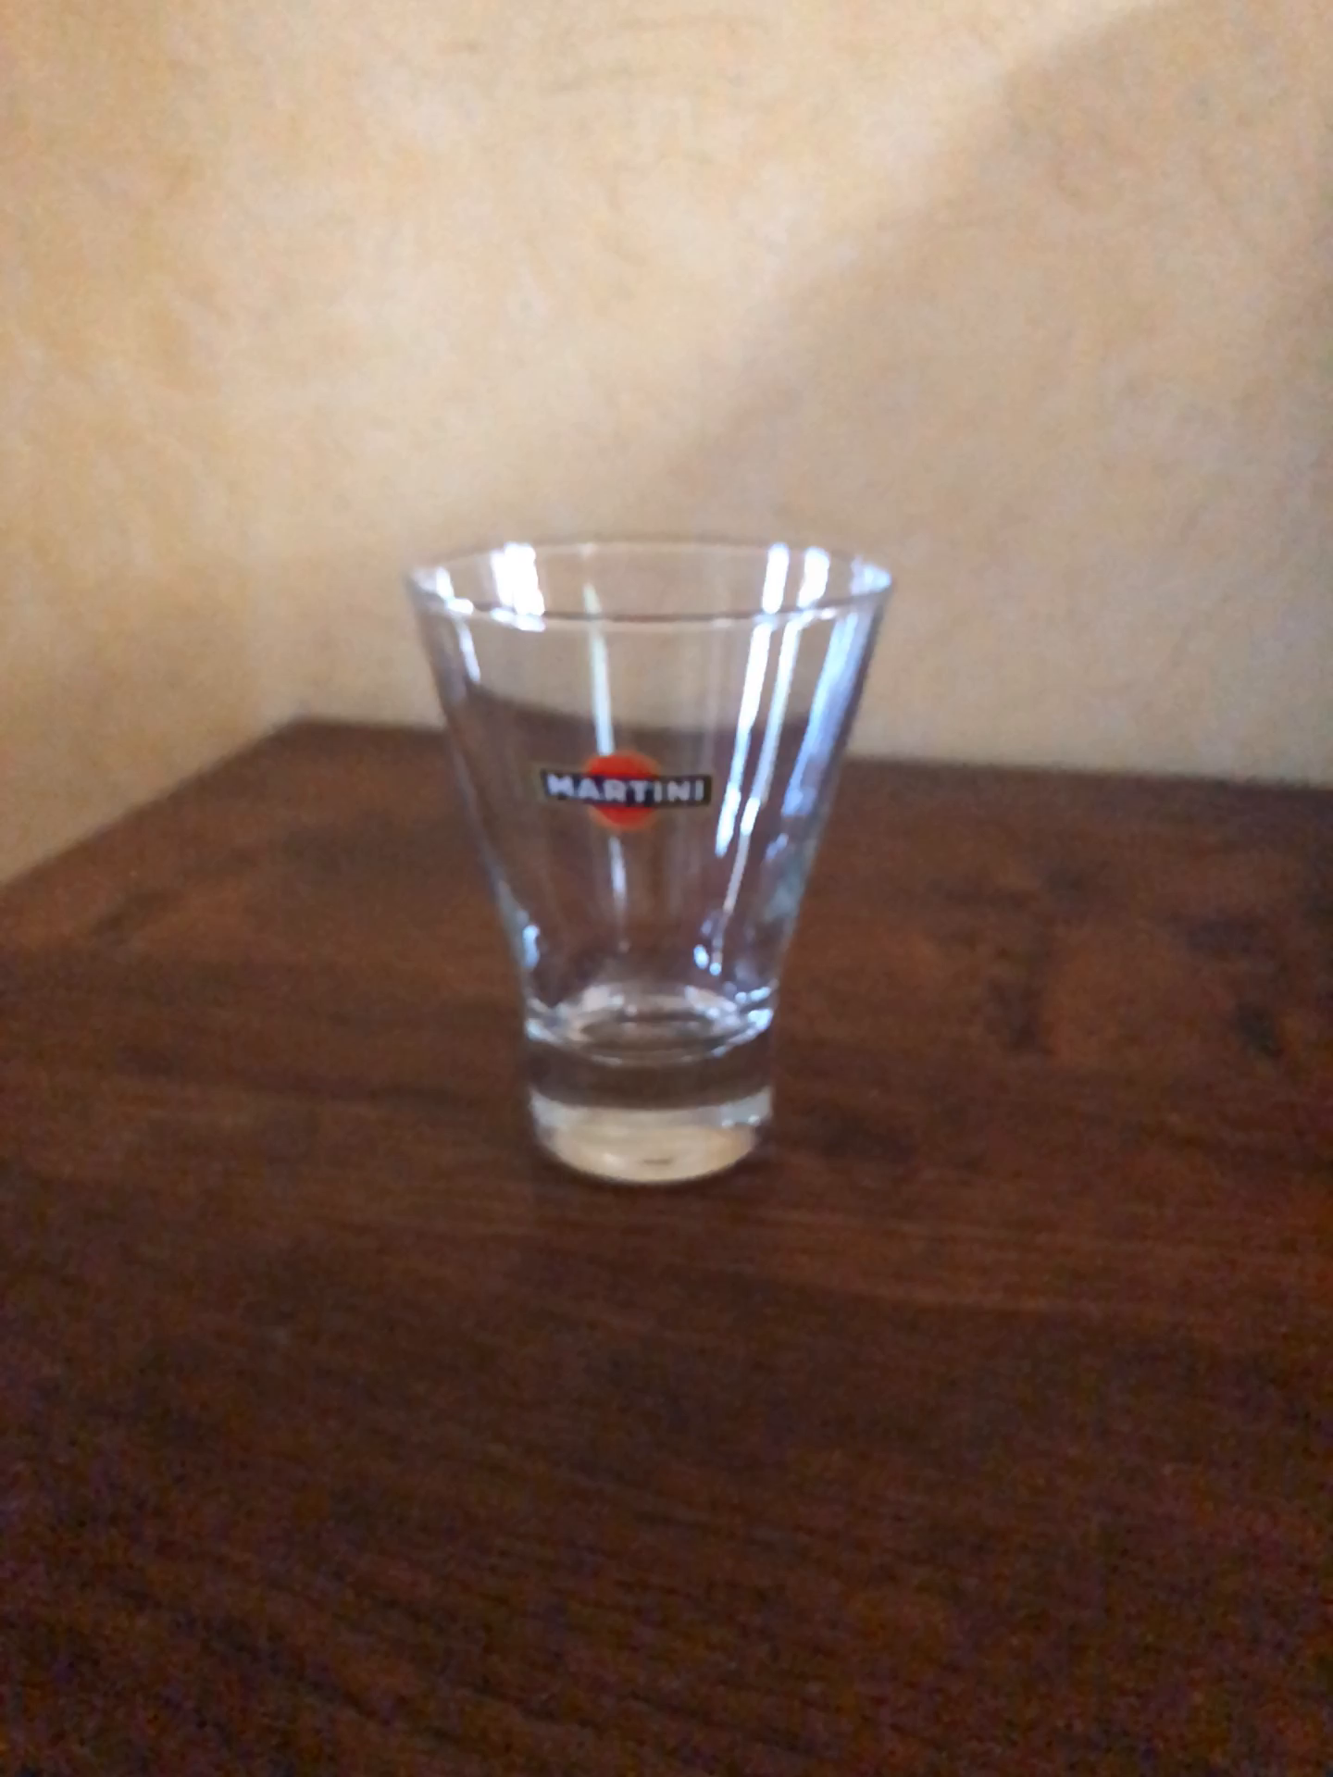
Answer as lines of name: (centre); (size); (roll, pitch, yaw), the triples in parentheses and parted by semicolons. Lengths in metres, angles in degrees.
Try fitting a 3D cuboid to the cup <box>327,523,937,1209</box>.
cup: (-0.002, -0.012, 0.285); (0.090, 0.100, 0.101); (1, 21, 3)
